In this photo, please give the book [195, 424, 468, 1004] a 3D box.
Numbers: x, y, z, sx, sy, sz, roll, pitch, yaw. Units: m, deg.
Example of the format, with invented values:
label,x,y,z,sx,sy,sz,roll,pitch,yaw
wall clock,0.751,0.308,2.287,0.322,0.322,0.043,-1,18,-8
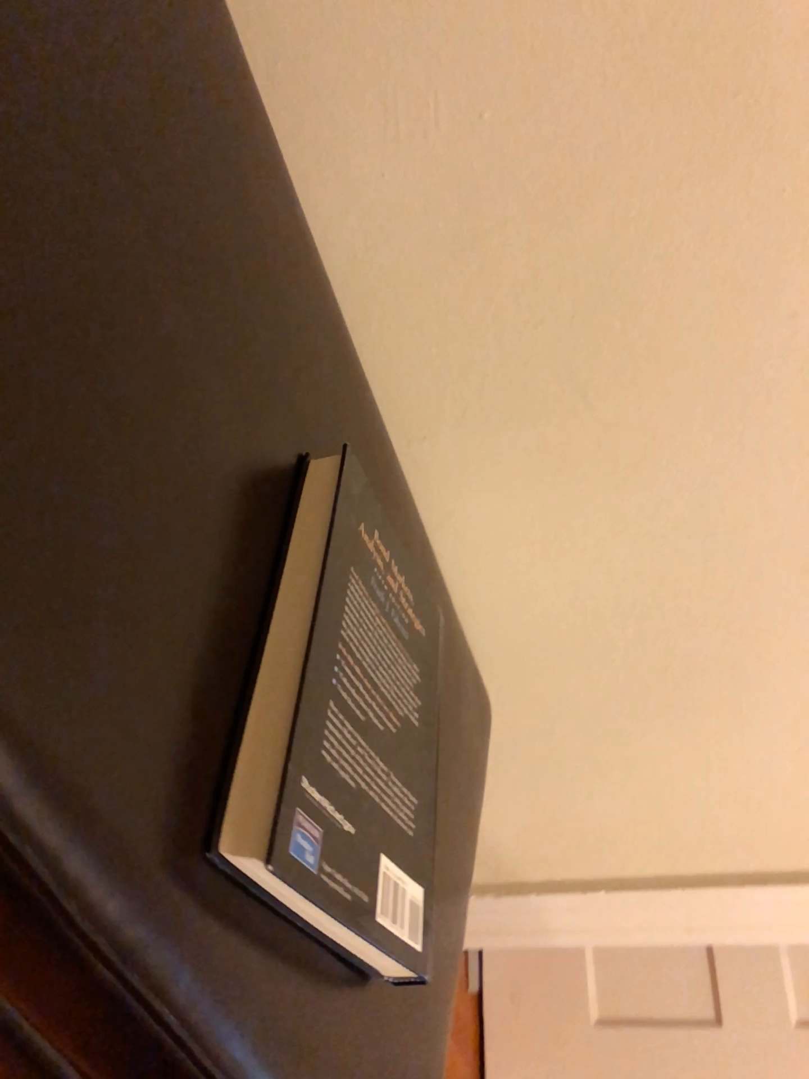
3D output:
label,x,y,z,sx,sy,sz,roll,pitch,yaw
book,-0.019,0.098,0.510,0.200,0.040,0.261,60,28,-44
